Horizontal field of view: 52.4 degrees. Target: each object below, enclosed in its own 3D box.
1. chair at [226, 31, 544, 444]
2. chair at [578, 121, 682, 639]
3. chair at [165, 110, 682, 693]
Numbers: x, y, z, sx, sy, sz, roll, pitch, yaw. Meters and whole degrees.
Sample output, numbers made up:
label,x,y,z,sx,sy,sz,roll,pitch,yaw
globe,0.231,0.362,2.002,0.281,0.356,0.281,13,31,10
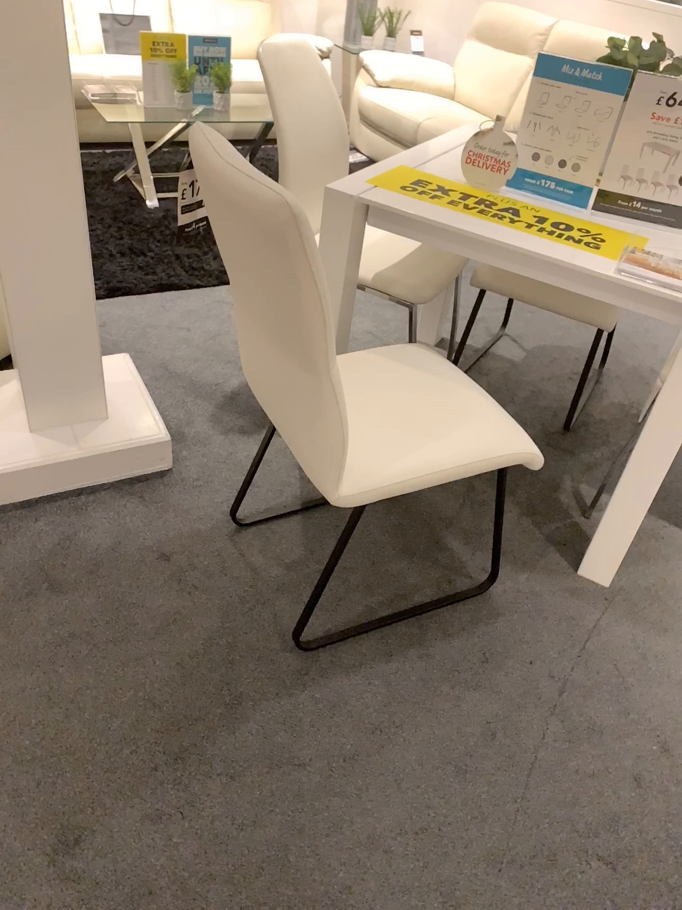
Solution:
label,x,y,z,sx,sy,sz,roll,pitch,yaw
chair,0.089,-0.633,2.011,0.641,0.901,0.524,21,39,16
chair,1.062,-0.187,1.597,0.602,0.881,0.554,27,41,22
chair,0.060,-0.122,1.357,0.632,0.881,0.544,-13,43,-25
